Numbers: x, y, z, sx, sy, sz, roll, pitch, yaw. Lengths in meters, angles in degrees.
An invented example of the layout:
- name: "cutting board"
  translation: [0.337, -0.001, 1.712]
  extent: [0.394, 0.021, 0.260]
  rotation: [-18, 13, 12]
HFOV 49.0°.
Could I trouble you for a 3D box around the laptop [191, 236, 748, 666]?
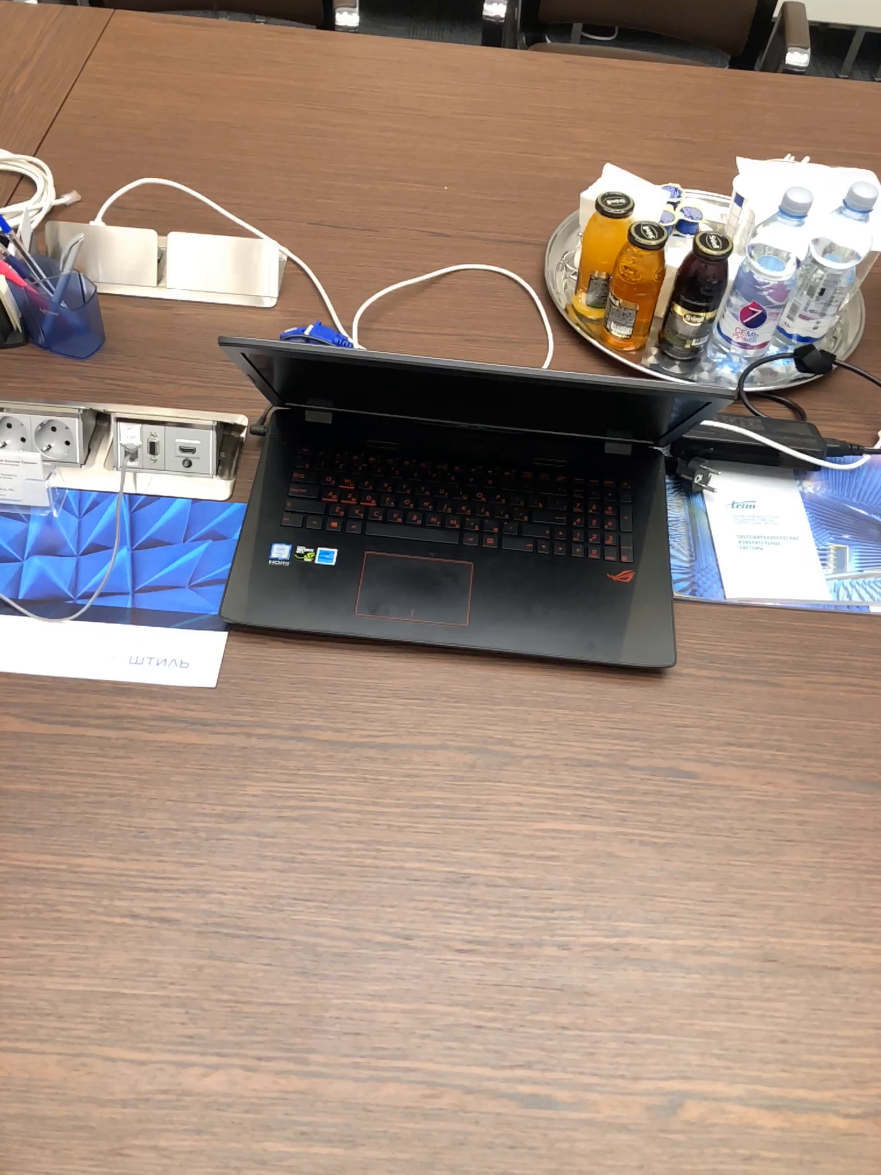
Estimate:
- name: "laptop"
  translation: [0.024, -0.109, 0.790]
  extent: [0.376, 0.189, 0.238]
  rotation: [6, 55, 0]
